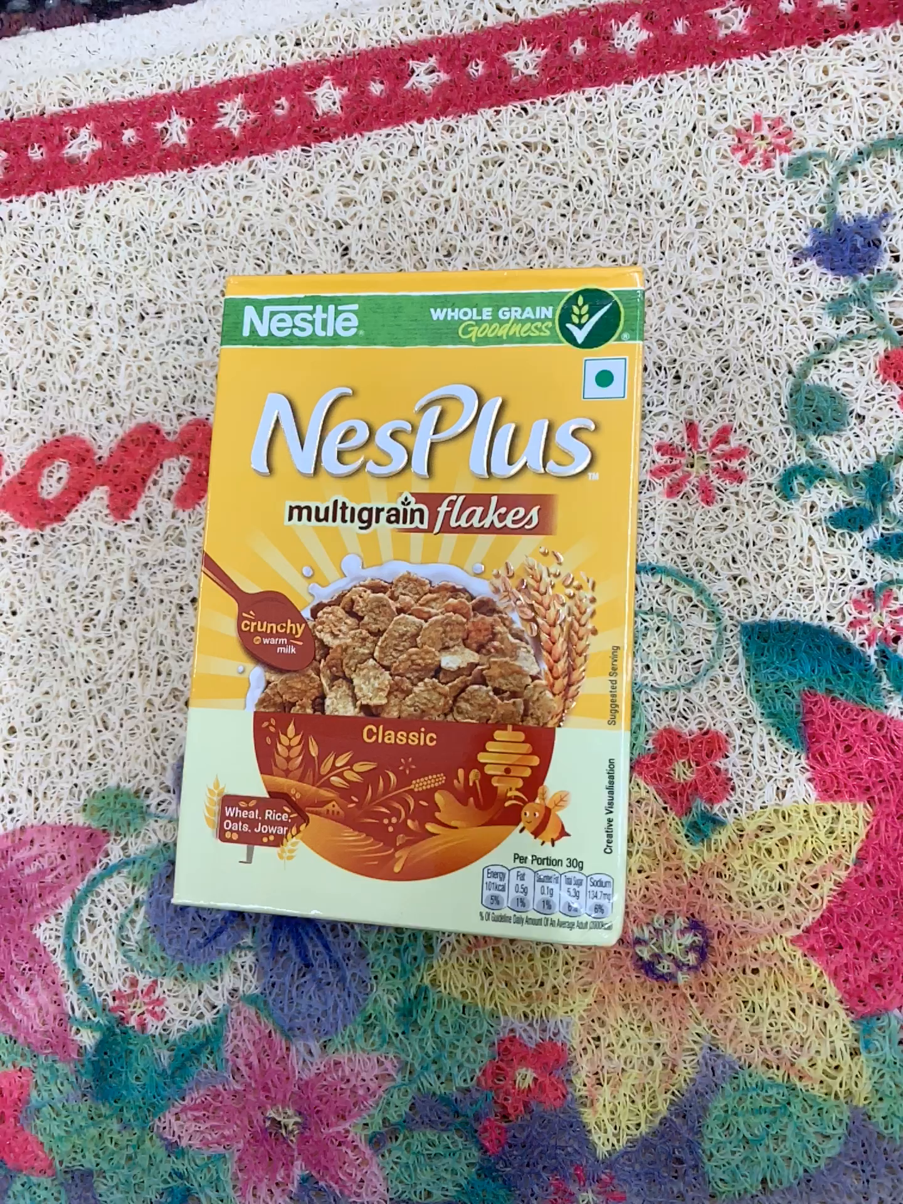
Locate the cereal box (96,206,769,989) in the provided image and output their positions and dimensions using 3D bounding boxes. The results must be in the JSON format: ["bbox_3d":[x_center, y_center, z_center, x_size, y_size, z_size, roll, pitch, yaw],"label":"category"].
[{"bbox_3d":[-0.001,-0.005,0.211,0.130,0.040,0.150,2,82,12],"label":"cereal box"}]
